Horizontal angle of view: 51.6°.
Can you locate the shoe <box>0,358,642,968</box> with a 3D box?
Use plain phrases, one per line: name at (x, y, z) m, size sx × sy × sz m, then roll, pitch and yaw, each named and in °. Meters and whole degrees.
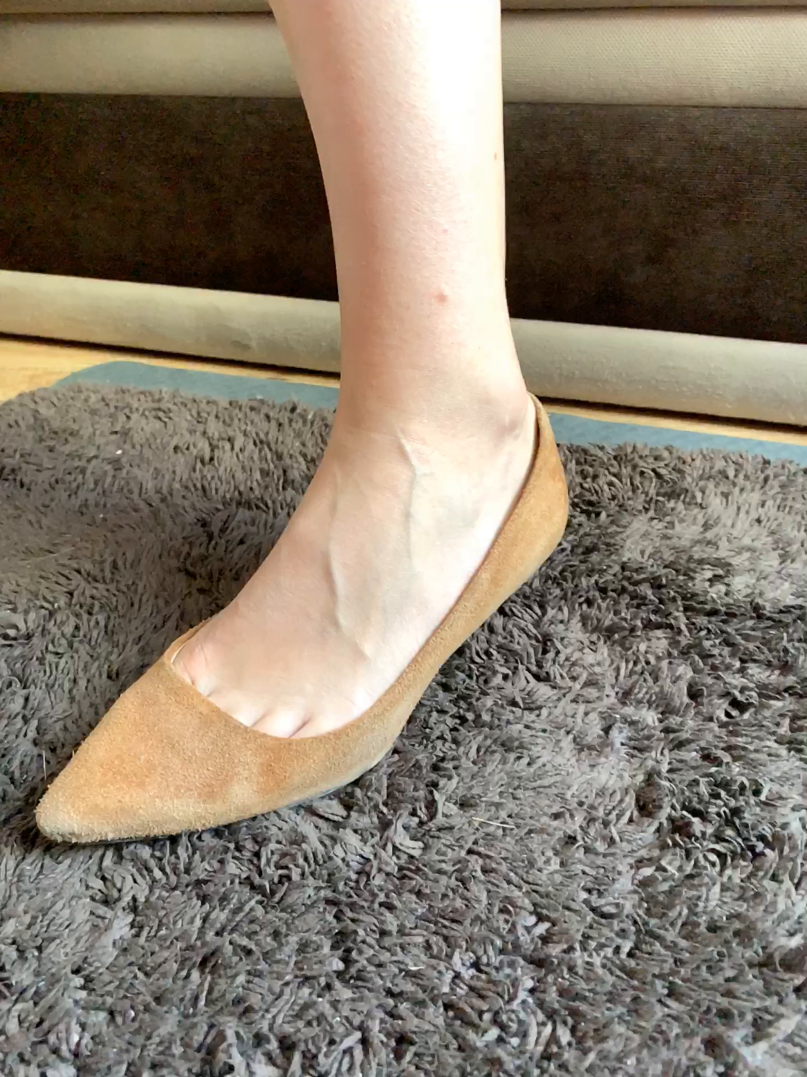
shoe at (-0.027, 0.018, 0.306) m, size 0.251 × 0.080 × 0.090 m, roll -29°, pitch 42°, yaw -34°
